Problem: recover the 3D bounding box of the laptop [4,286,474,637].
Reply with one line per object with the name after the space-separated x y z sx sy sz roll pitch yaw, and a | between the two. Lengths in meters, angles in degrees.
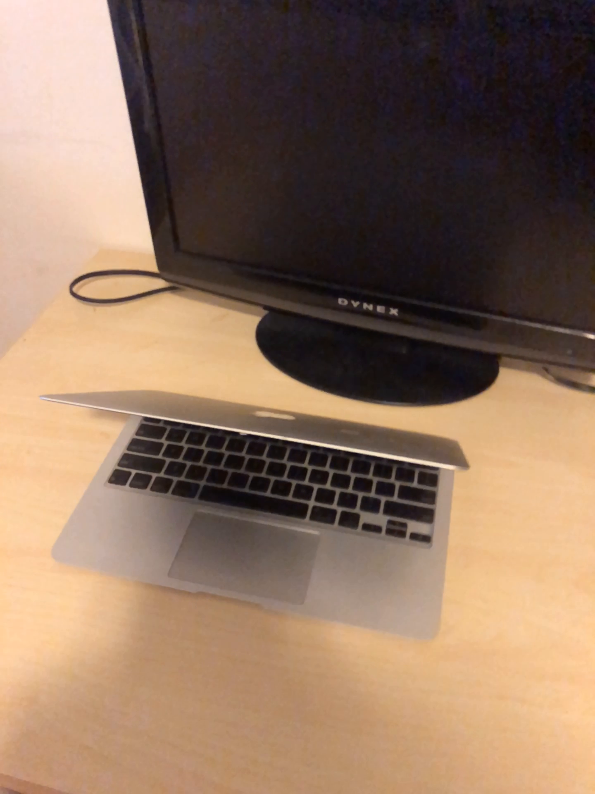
-0.025 0.035 0.504 0.287 0.127 0.190 9 43 11 | laptop
